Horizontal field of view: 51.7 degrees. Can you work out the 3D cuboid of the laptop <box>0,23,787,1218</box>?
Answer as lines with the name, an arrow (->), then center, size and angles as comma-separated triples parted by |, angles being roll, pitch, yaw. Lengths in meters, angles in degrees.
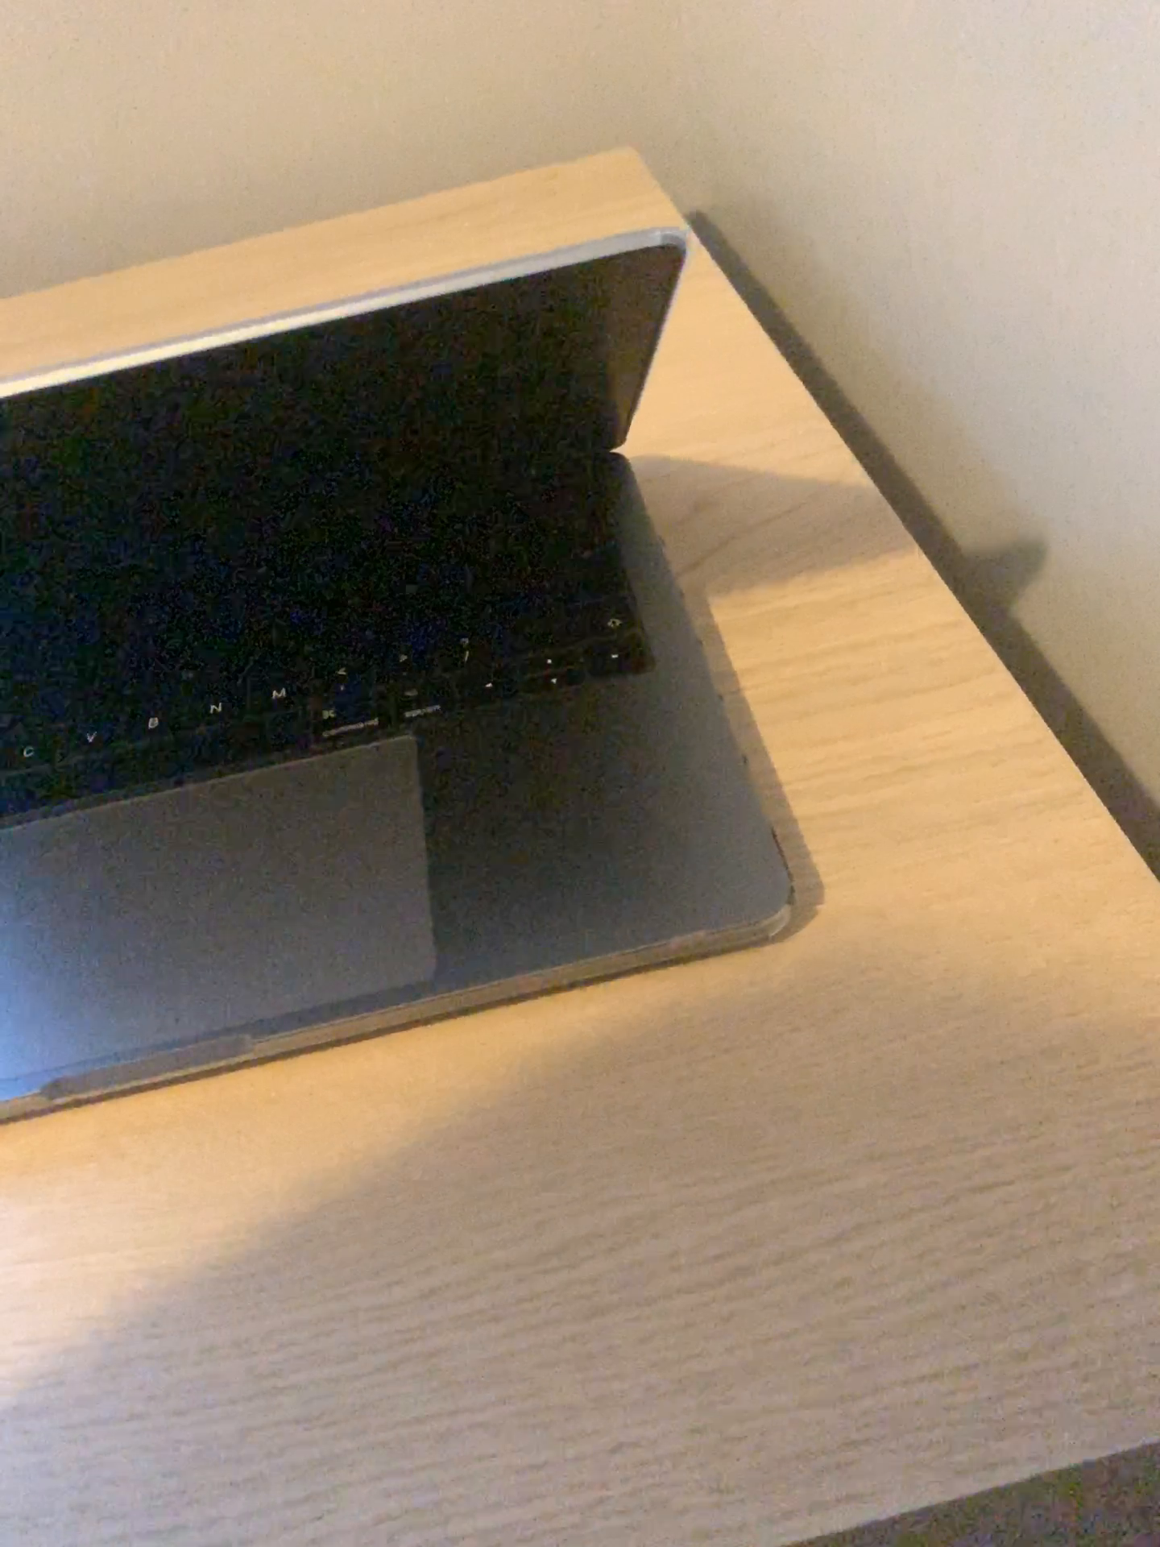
laptop -> -0.122, -0.052, 0.288 | 0.290, 0.130, 0.205 | -13, 44, 0
